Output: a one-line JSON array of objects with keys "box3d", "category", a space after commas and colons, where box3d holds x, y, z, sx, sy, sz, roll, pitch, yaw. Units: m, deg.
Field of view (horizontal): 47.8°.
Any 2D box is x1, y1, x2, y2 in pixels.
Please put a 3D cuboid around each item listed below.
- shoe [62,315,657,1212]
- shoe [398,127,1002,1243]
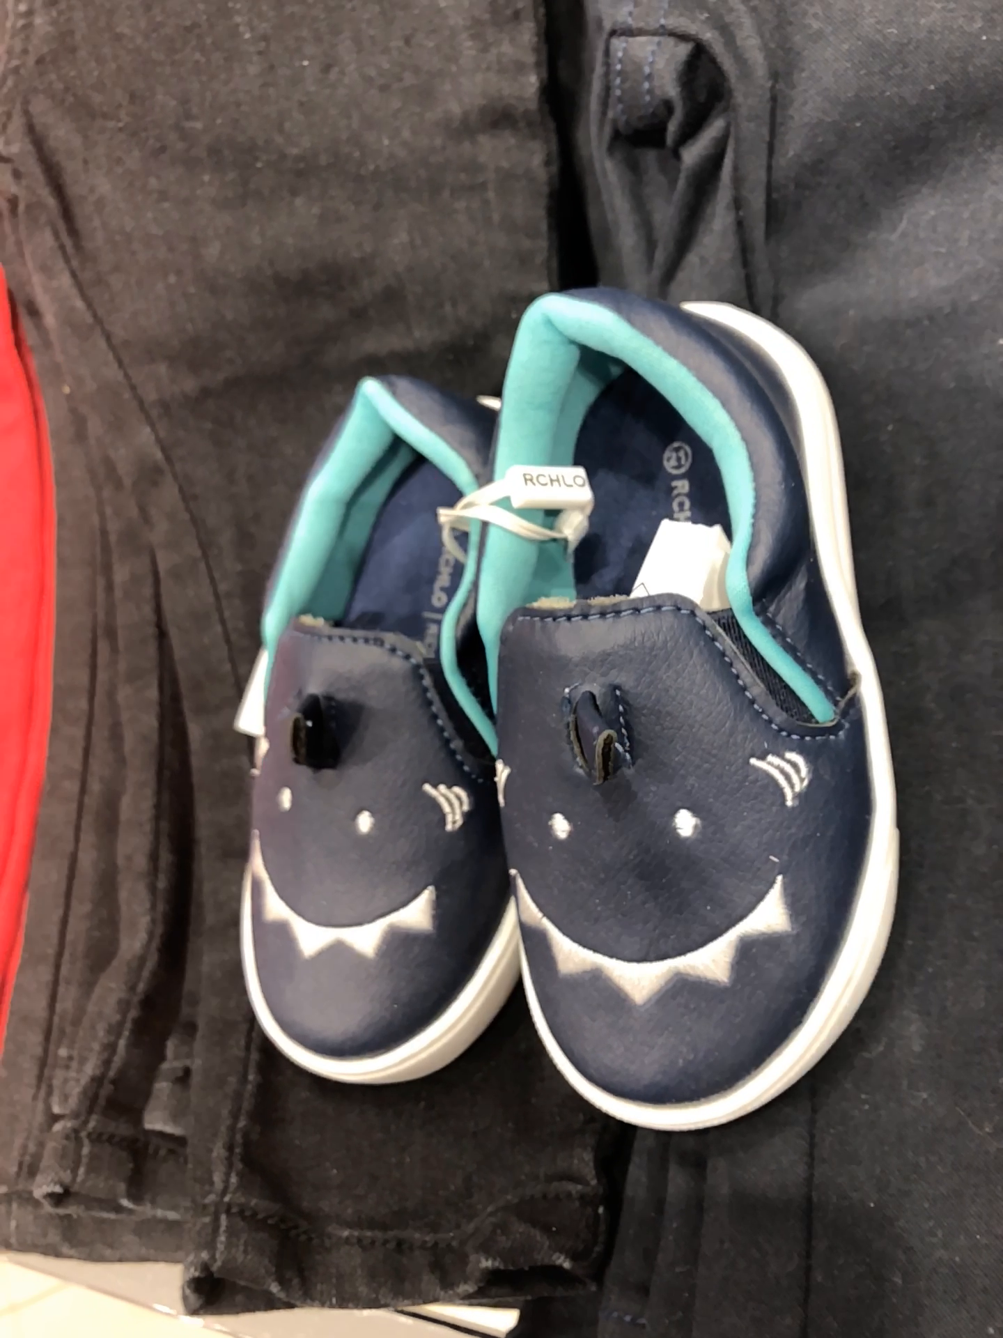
[{"box3d": [-0.024, 0.013, 0.227, 0.080, 0.050, 0.150, 5, 80, 25], "category": "shoe"}, {"box3d": [0.031, 0.003, 0.187, 0.080, 0.050, 0.150, -6, 76, 23], "category": "shoe"}]
